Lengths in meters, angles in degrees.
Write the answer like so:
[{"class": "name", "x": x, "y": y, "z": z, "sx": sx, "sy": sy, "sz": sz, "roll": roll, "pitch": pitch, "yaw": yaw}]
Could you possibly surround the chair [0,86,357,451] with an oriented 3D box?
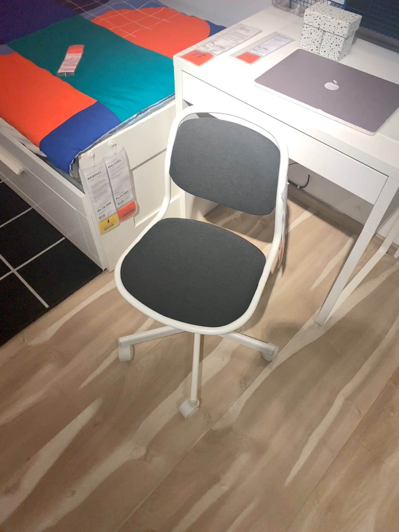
[{"class": "chair", "x": -0.016, "y": 0.016, "z": 1.104, "sx": 0.570, "sy": 0.628, "sz": 0.591, "roll": 20, "pitch": 55, "yaw": 14}]
